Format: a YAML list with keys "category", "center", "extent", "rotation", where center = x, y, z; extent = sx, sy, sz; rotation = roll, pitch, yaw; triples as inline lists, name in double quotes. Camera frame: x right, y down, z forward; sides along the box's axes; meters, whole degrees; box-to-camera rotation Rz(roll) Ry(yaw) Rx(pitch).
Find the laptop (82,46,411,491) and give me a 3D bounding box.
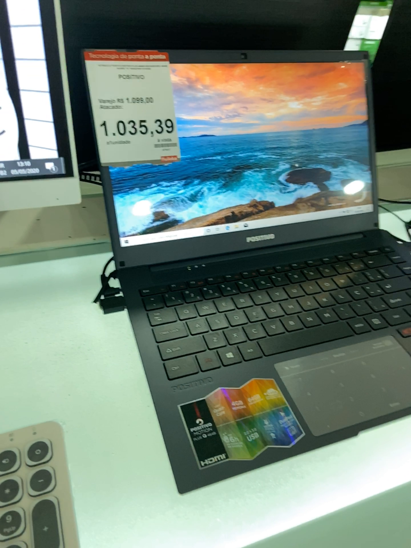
- category: "laptop"
  center: [0.088, -0.067, 0.395]
  extent: [0.334, 0.175, 0.355]
  rotation: [-9, 43, -18]
